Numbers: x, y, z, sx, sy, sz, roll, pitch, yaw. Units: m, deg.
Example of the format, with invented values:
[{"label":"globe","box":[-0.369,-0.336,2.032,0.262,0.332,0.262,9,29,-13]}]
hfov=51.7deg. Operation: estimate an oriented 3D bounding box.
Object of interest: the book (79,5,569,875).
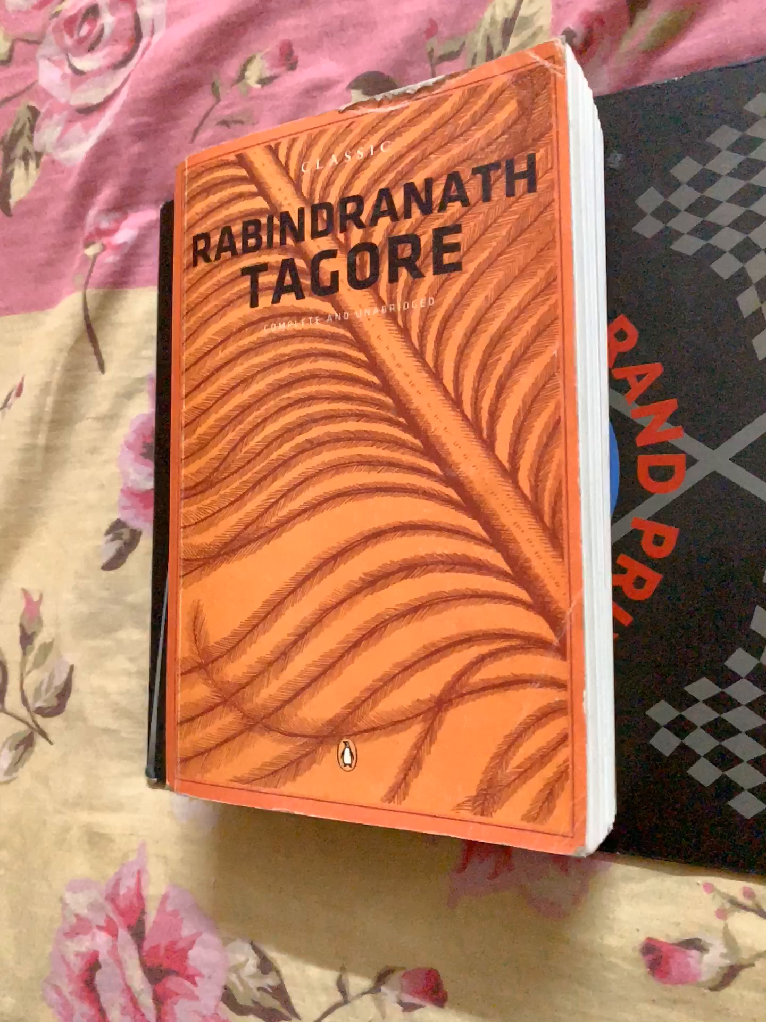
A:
[{"label":"book","box":[-0.016,-0.018,0.242,0.130,0.060,0.210,-2,83,25]}]
